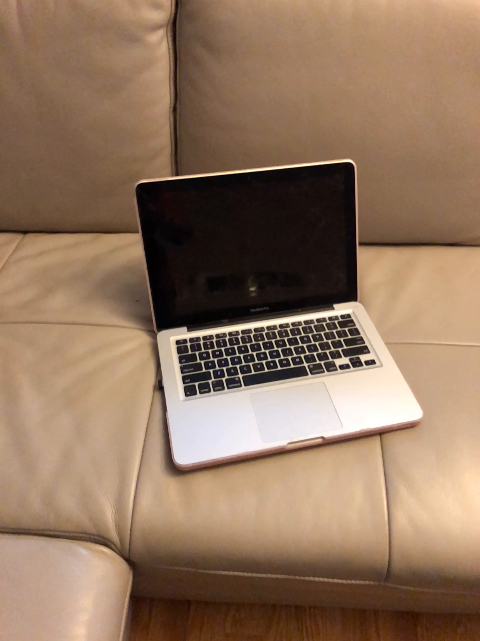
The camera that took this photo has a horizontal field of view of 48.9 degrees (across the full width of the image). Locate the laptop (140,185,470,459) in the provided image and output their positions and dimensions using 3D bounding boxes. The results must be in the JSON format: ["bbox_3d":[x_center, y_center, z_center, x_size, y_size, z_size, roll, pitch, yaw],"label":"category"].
[{"bbox_3d":[0.047,-0.017,0.683,0.305,0.177,0.307,-8,43,-9],"label":"laptop"}]
